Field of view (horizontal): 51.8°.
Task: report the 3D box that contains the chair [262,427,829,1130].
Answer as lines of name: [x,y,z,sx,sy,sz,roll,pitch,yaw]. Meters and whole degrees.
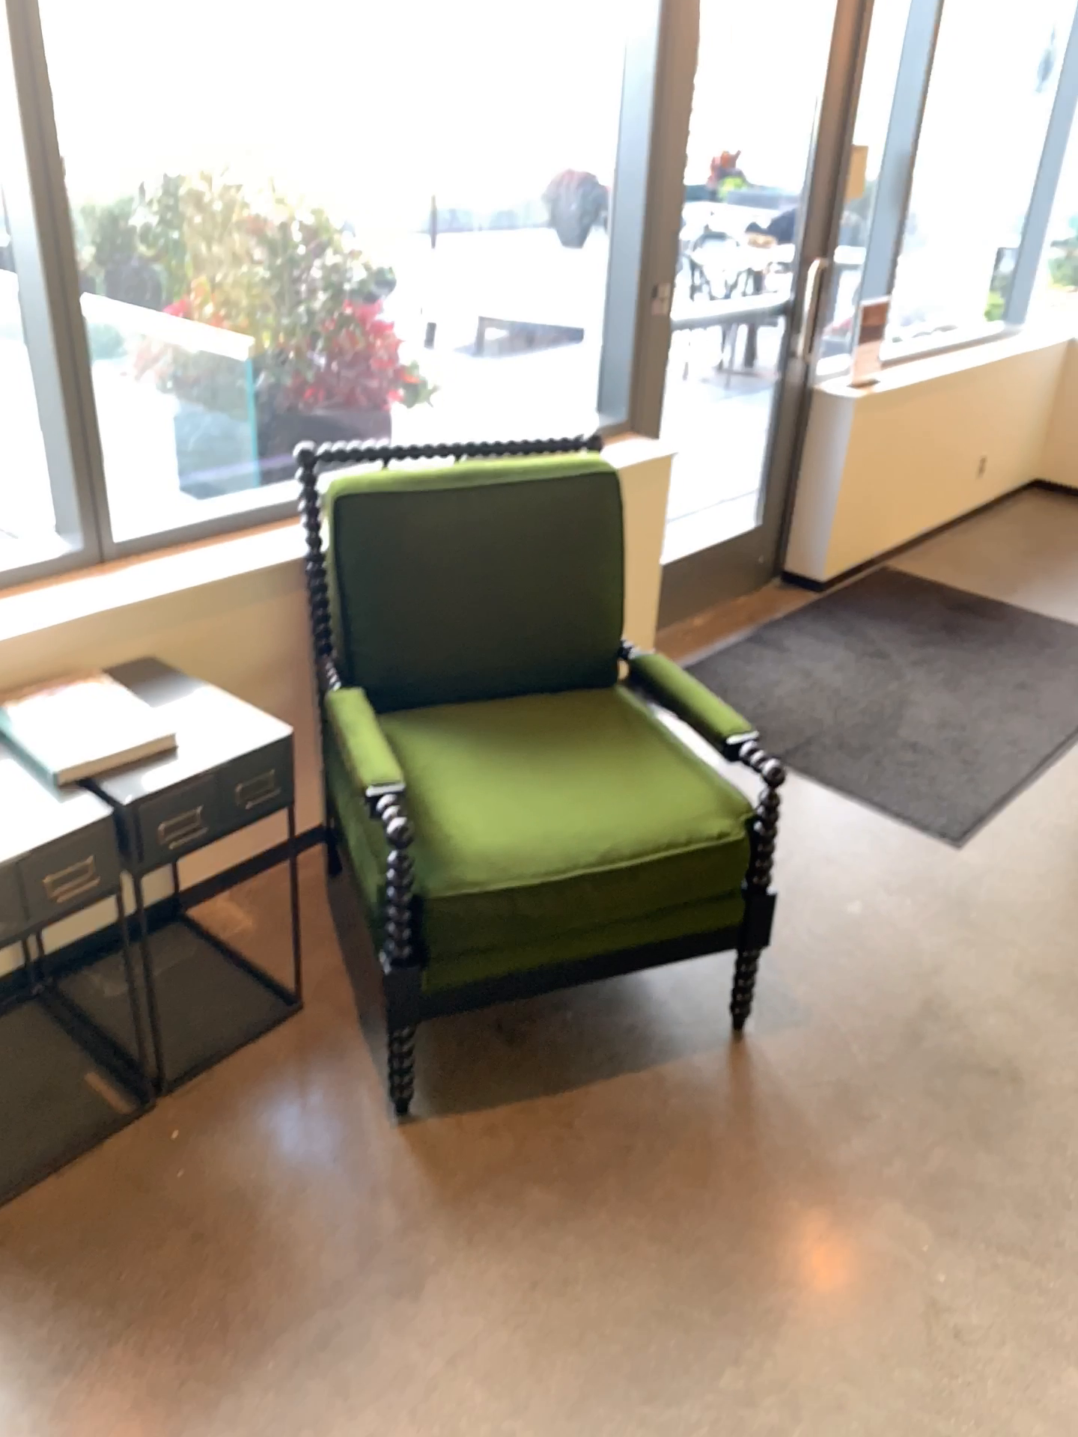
chair: [-0.078,0.037,2.245,0.760,0.984,0.926,-7,30,-18]
